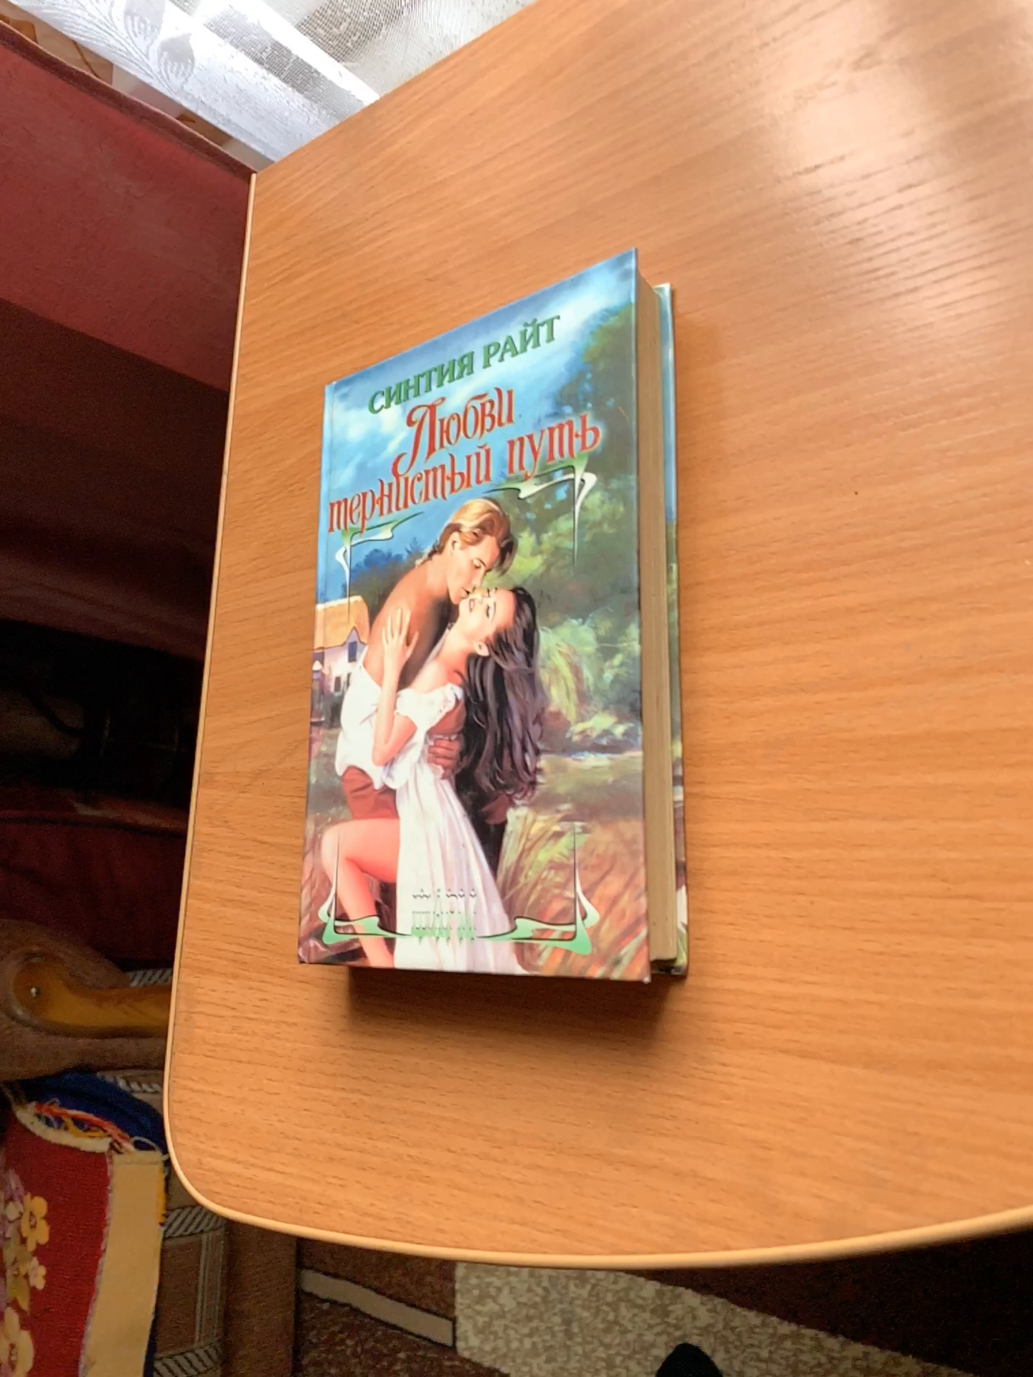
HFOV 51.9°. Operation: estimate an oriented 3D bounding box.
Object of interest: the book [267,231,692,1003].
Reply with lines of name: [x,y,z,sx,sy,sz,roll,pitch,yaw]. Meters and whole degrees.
book: [-0.016,-0.016,0.335,0.141,0.030,0.210,-8,76,38]
